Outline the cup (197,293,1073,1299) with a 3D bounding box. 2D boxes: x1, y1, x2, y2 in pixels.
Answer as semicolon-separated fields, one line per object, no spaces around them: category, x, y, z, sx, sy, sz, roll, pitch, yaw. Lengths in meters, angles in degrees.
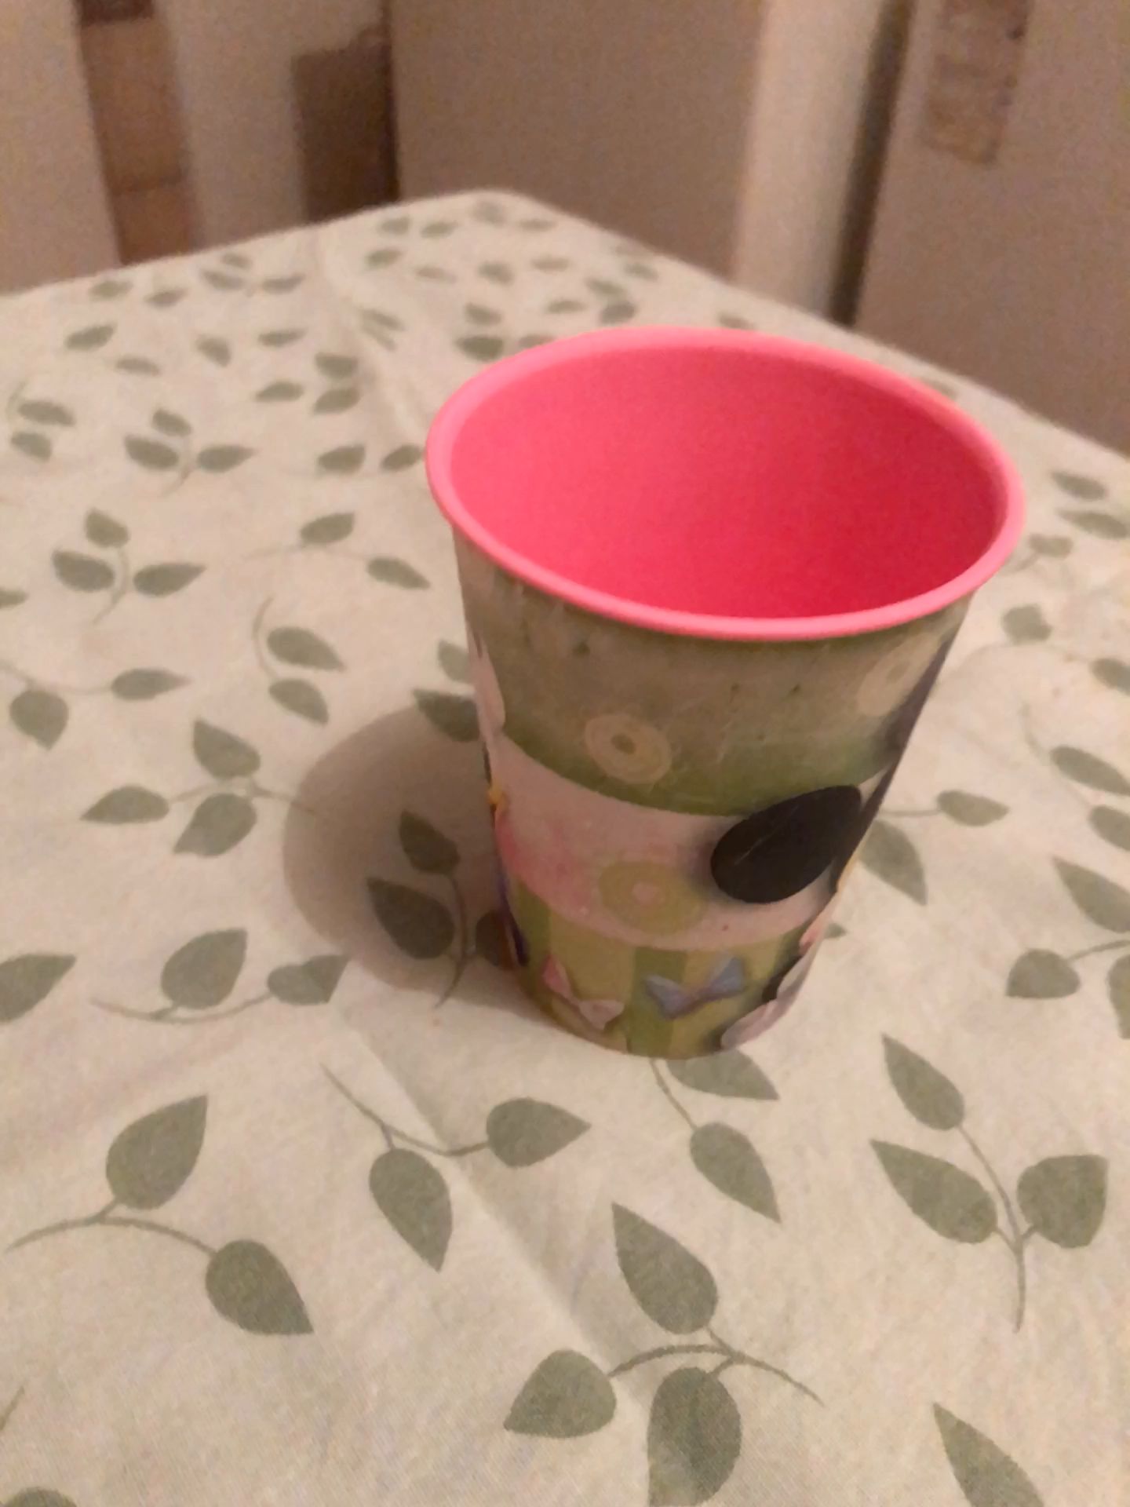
cup;0.015;0.004;0.226;0.100;0.119;0.101;2;42;-2
